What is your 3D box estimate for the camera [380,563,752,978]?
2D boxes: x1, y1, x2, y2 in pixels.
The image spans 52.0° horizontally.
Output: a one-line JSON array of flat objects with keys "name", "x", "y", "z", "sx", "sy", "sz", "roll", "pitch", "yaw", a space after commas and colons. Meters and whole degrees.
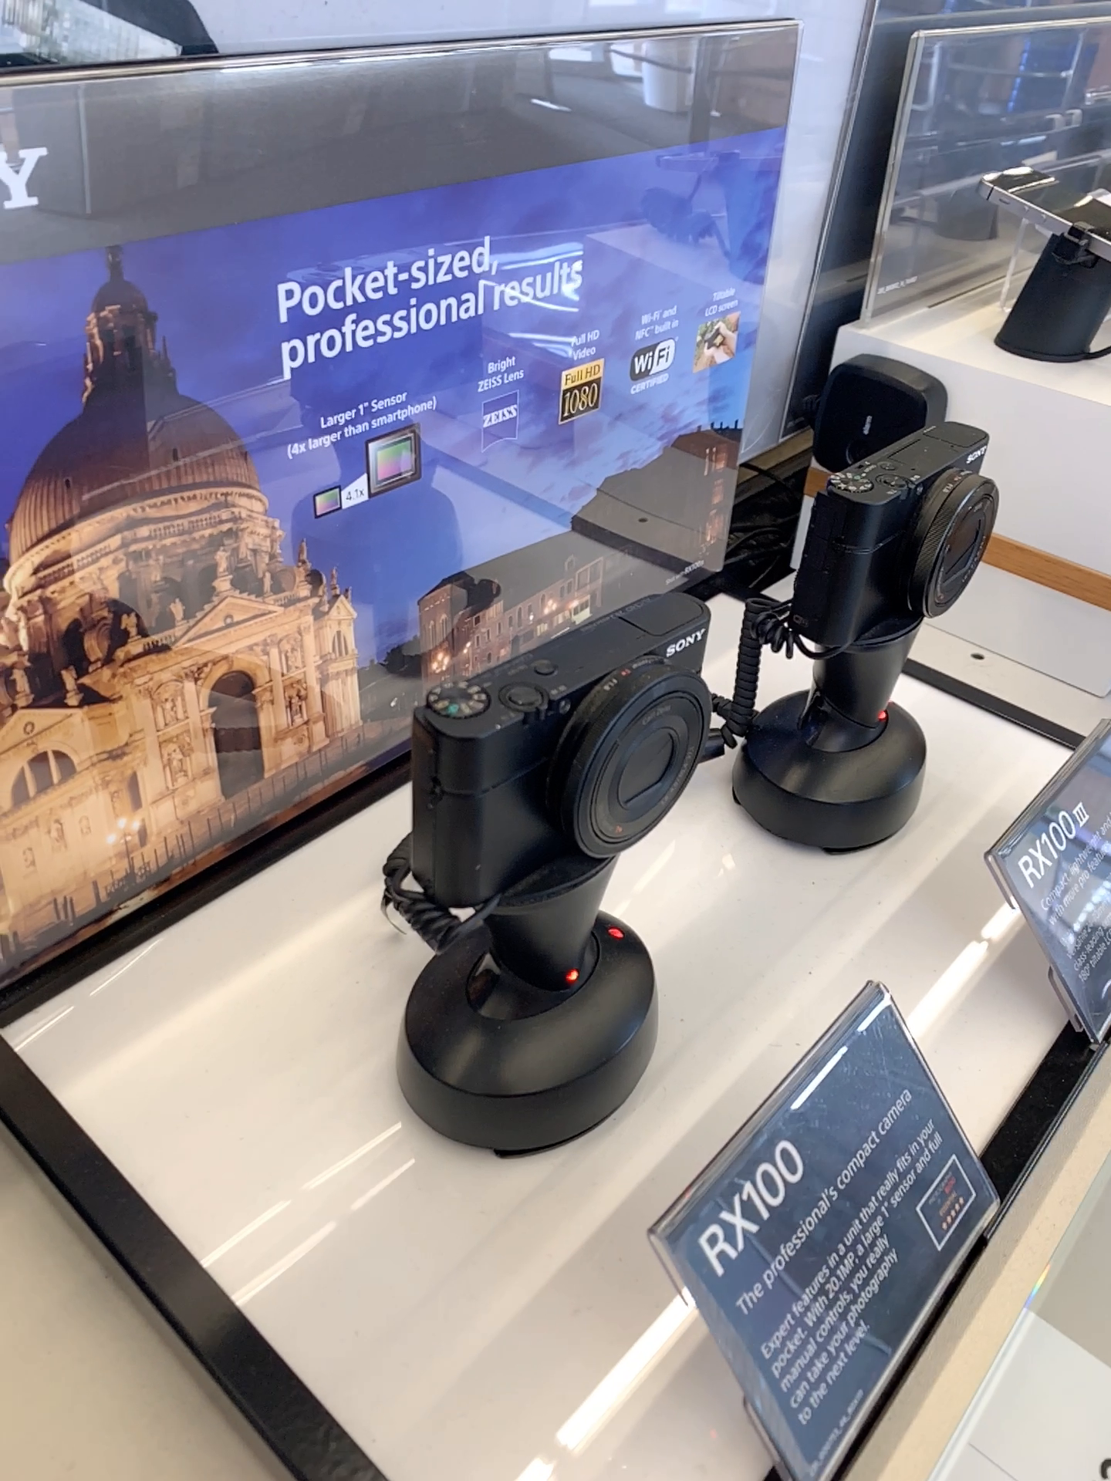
[{"name": "camera", "x": 0.004, "y": 0.005, "z": 0.318, "sx": 0.040, "sy": 0.069, "sz": 0.101, "roll": 31, "pitch": 45, "yaw": 31}]
